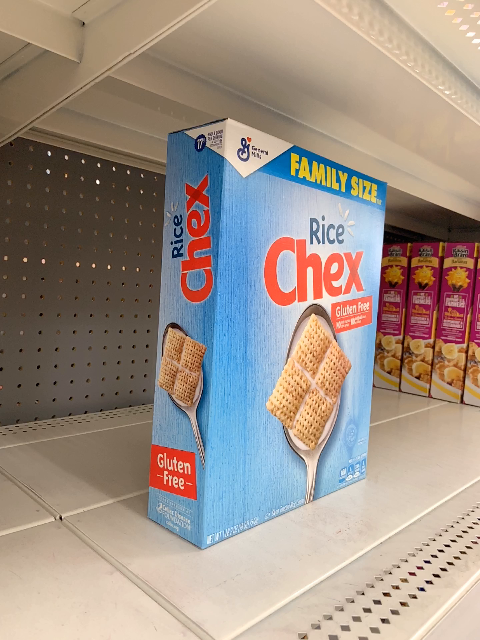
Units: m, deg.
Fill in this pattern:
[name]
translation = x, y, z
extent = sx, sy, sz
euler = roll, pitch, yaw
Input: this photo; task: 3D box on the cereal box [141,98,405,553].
[cereal box]
translation = 0.045, 0.004, 0.462
extent = 0.080, 0.320, 0.250
euler = 7, 4, 45
